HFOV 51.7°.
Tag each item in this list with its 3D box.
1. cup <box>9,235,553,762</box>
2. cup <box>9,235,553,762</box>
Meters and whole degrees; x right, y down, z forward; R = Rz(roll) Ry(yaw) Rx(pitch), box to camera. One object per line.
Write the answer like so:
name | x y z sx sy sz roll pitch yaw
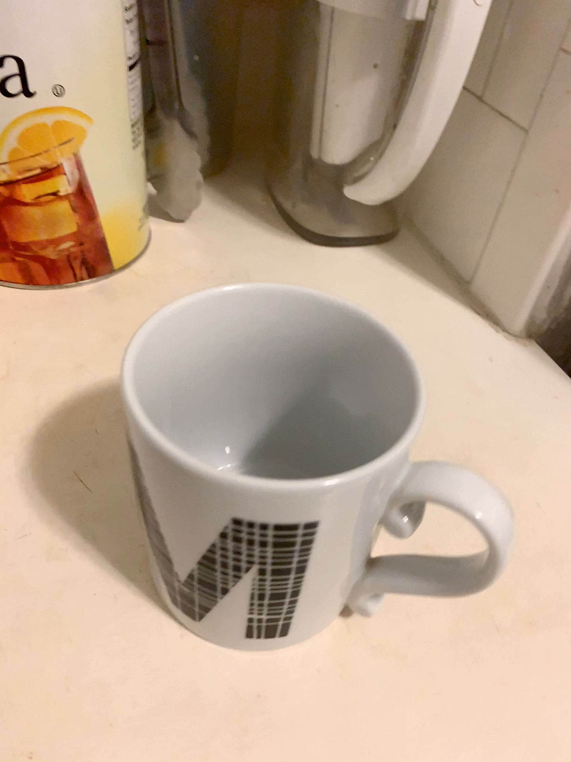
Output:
cup | 0.000 0.037 0.211 0.130 0.109 0.100 24 44 17
cup | 0.000 0.037 0.211 0.130 0.109 0.100 24 44 17
